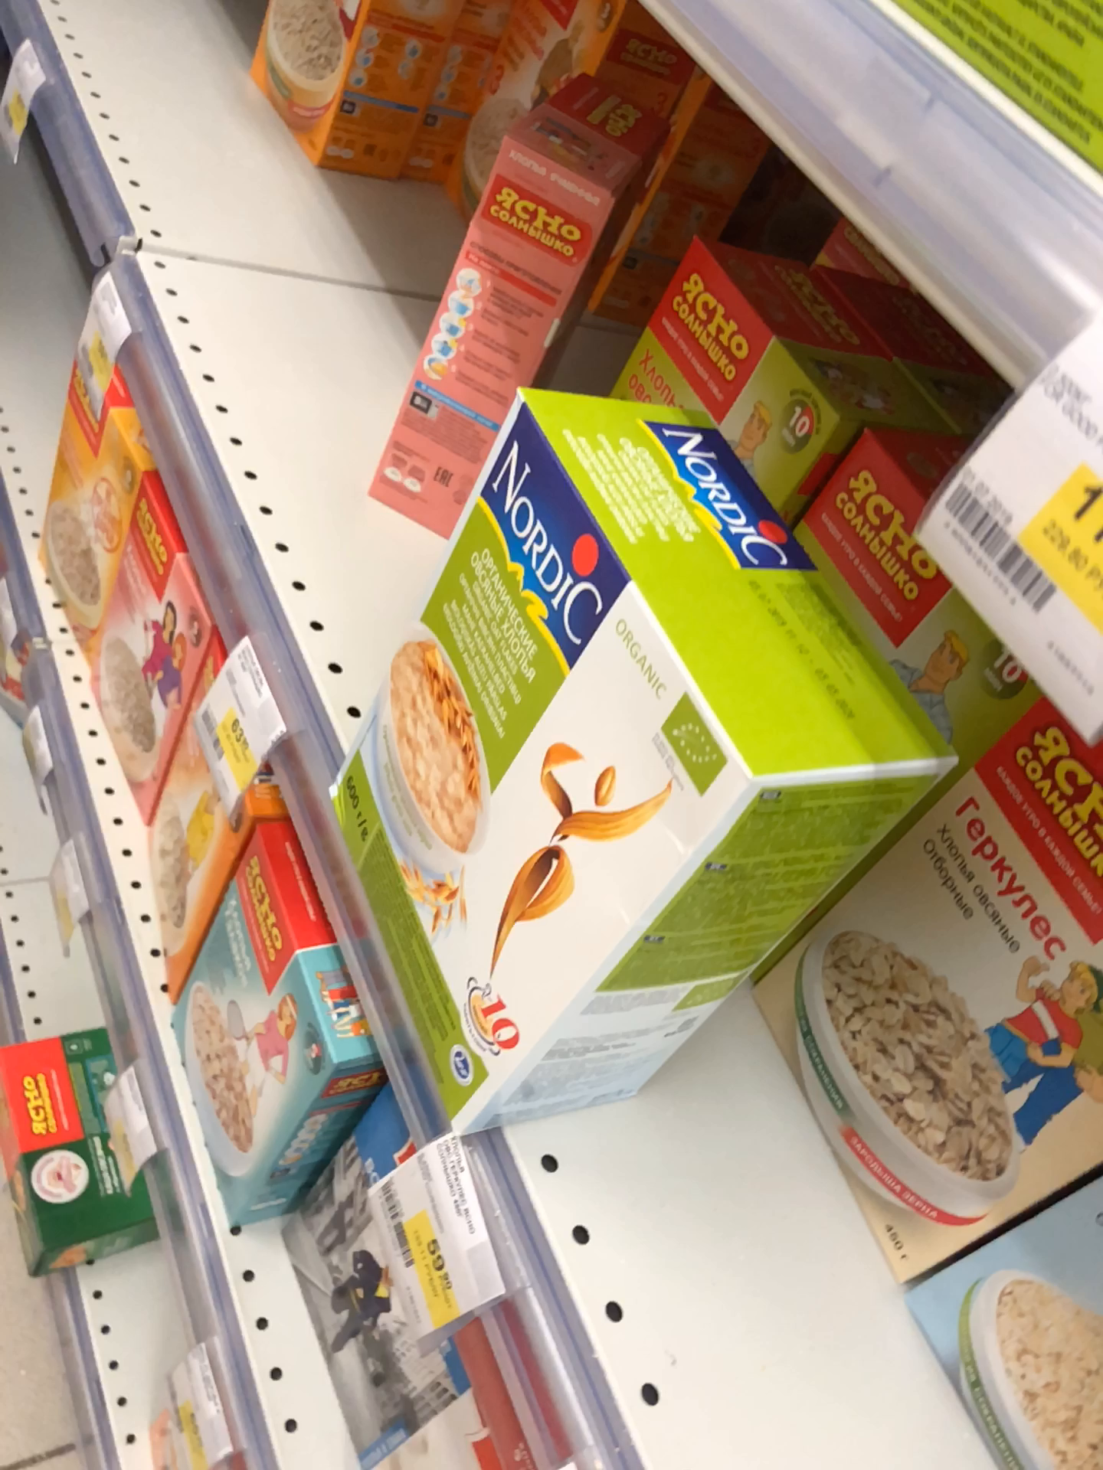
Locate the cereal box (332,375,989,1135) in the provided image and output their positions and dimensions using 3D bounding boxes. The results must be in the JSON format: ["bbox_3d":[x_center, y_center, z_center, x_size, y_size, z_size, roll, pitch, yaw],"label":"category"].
[{"bbox_3d":[0.015,0.011,0.401,0.080,0.189,0.151,-2,51,-34],"label":"cereal box"}]
